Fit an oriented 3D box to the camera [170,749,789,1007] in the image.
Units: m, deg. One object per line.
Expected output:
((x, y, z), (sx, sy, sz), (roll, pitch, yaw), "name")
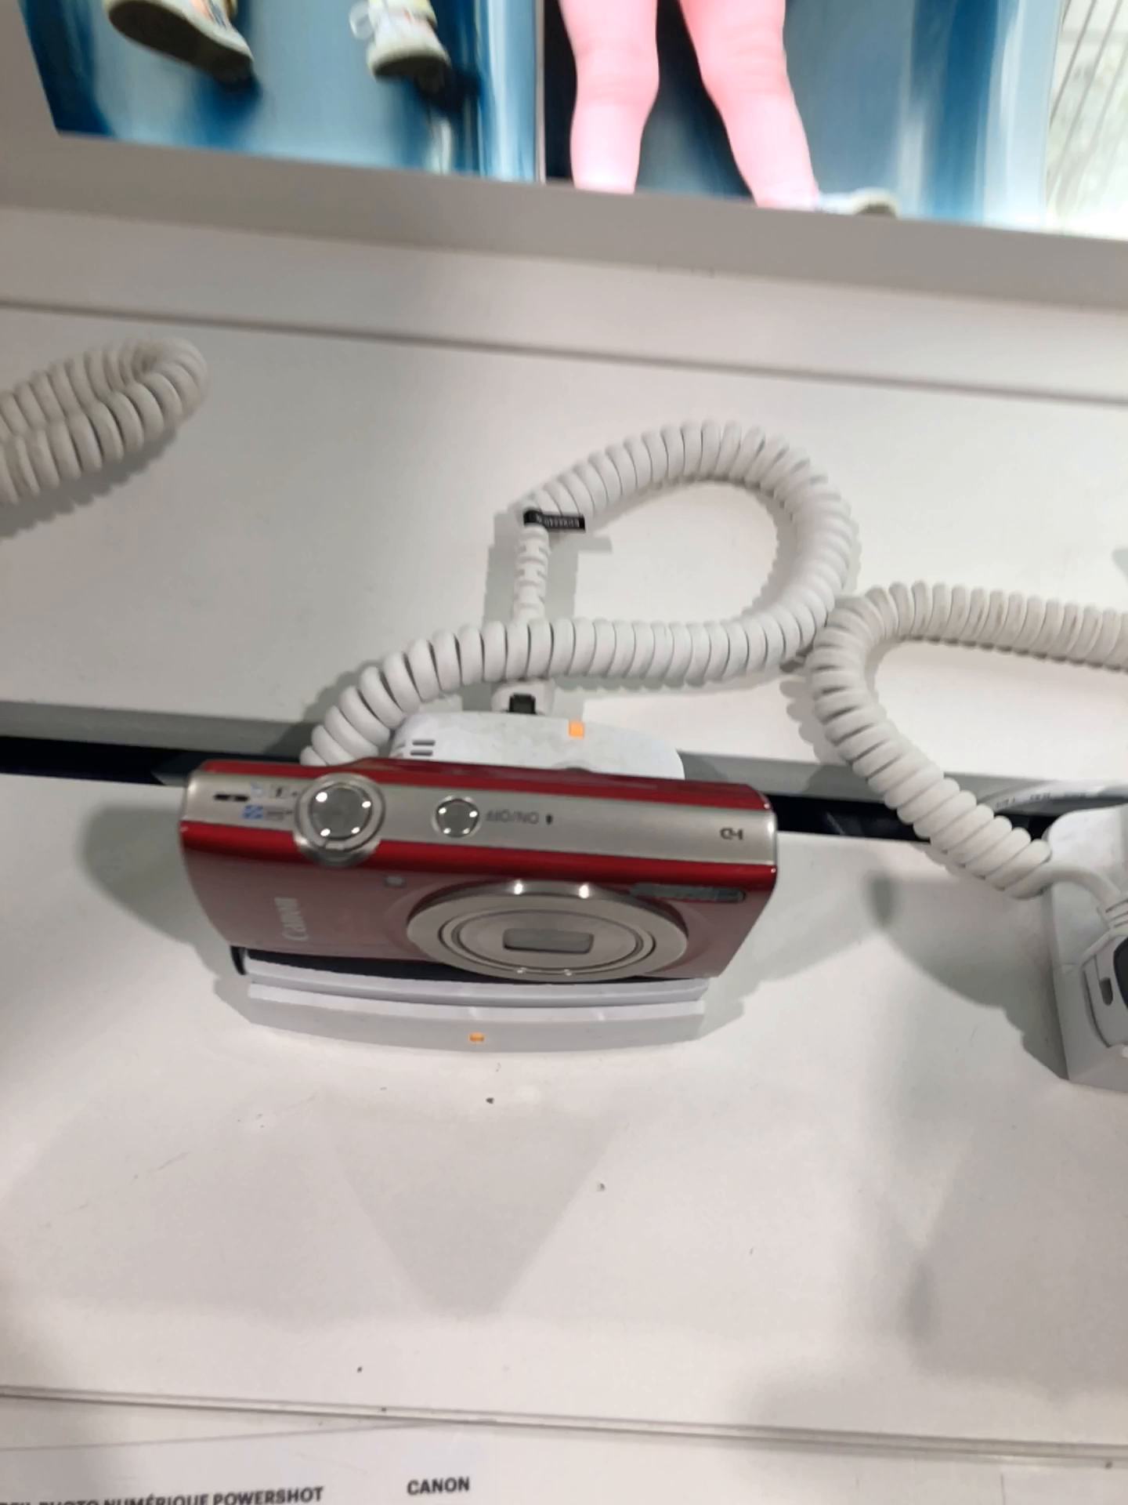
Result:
((-0.014, 0.023, 0.214), (0.092, 0.050, 0.022), (3, 60, -3), "camera")
